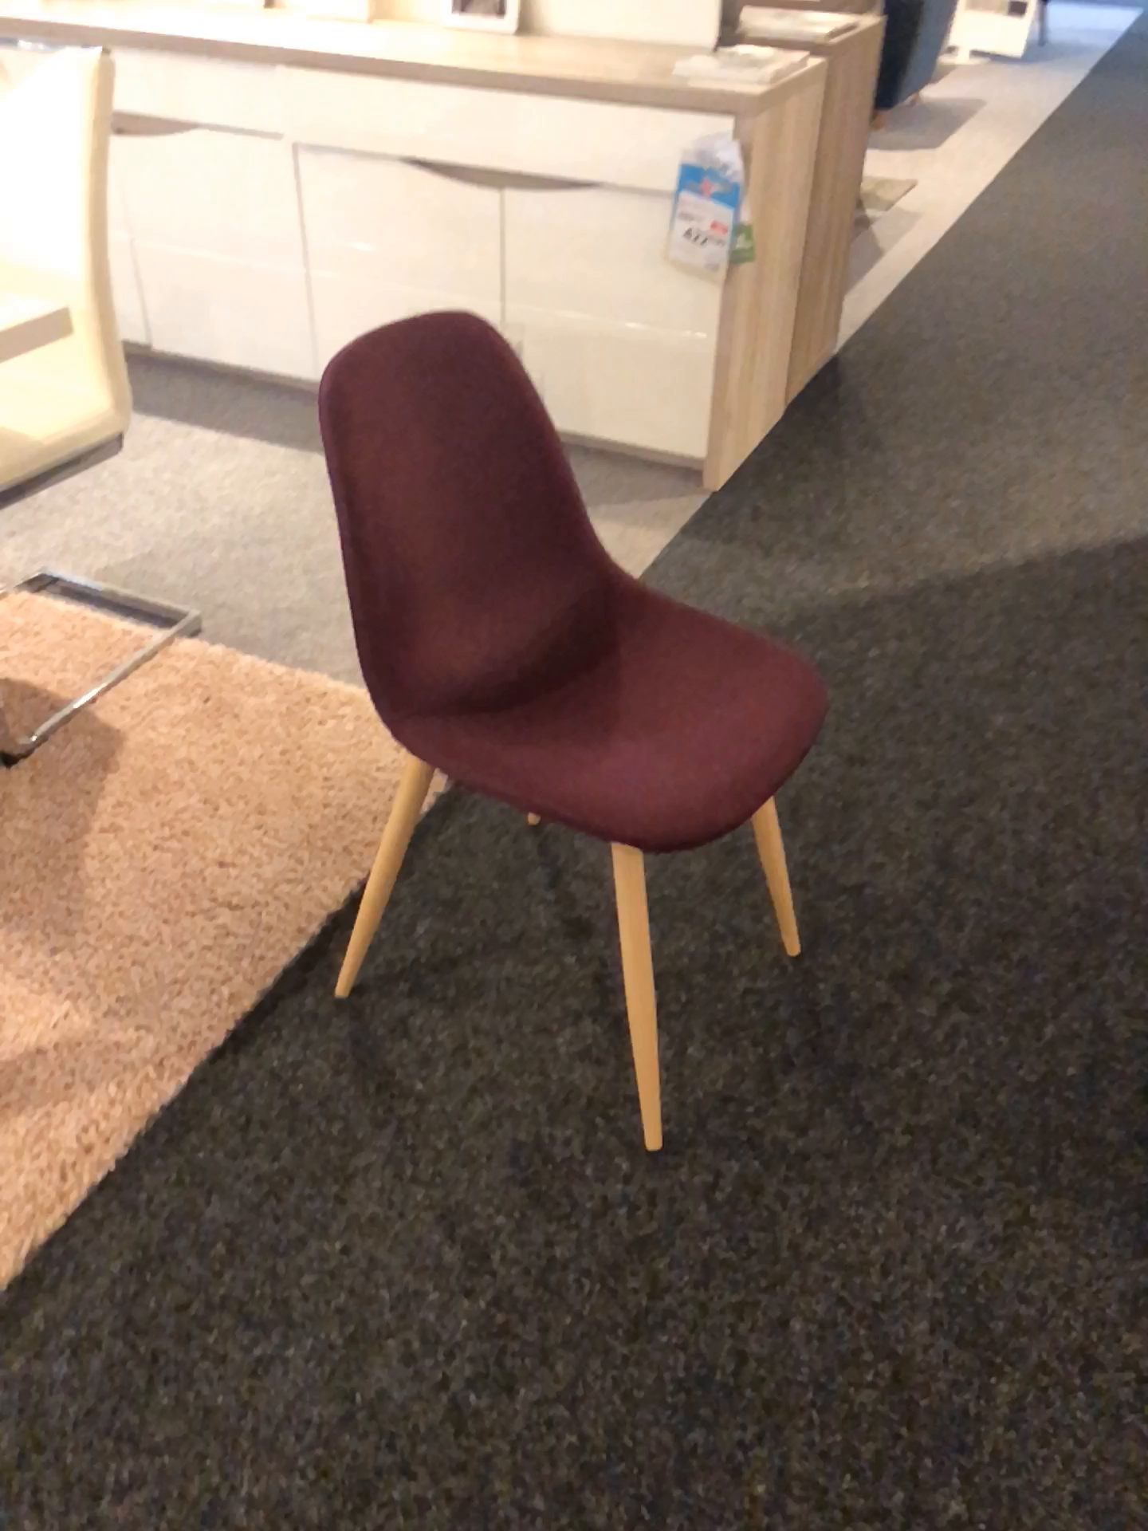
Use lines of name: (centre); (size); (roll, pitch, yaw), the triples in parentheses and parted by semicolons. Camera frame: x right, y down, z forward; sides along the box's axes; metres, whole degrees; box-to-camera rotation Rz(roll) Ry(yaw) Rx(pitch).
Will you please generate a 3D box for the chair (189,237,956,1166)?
chair: (0.002, -0.090, 1.431); (0.570, 0.795, 0.473); (21, 40, 24)
